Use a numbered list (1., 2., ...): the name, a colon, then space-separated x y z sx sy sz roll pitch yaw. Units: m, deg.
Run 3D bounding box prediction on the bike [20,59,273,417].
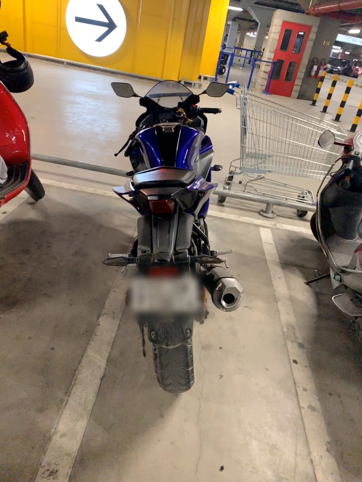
1. bike: -0.308 -0.218 1.895 0.687 0.932 1.658 4 33 -13
